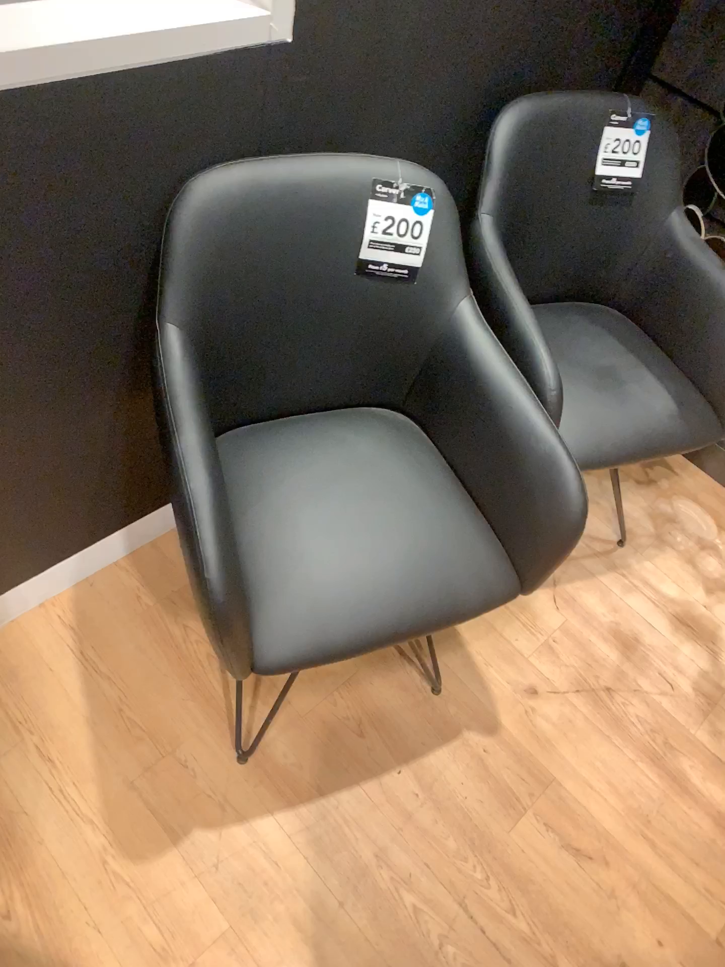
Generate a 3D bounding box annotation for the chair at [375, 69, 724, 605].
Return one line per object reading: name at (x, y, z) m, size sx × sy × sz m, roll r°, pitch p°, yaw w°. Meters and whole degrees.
chair at (0.482, -0.283, 1.536) m, size 0.564 × 0.837 × 0.595 m, roll -14°, pitch 57°, yaw -23°

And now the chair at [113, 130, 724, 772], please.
chair at (-0.009, -0.038, 1.200) m, size 0.604 × 0.777 × 0.595 m, roll -11°, pitch 56°, yaw -21°
